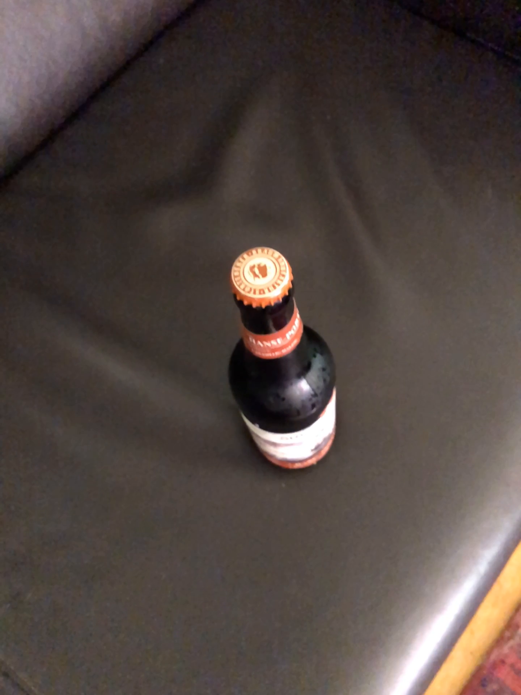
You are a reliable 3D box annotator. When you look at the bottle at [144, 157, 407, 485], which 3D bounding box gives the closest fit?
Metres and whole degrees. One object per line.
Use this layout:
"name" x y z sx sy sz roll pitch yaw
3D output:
"bottle" 0.015 0.014 0.376 0.080 0.280 0.080 -2 70 4
